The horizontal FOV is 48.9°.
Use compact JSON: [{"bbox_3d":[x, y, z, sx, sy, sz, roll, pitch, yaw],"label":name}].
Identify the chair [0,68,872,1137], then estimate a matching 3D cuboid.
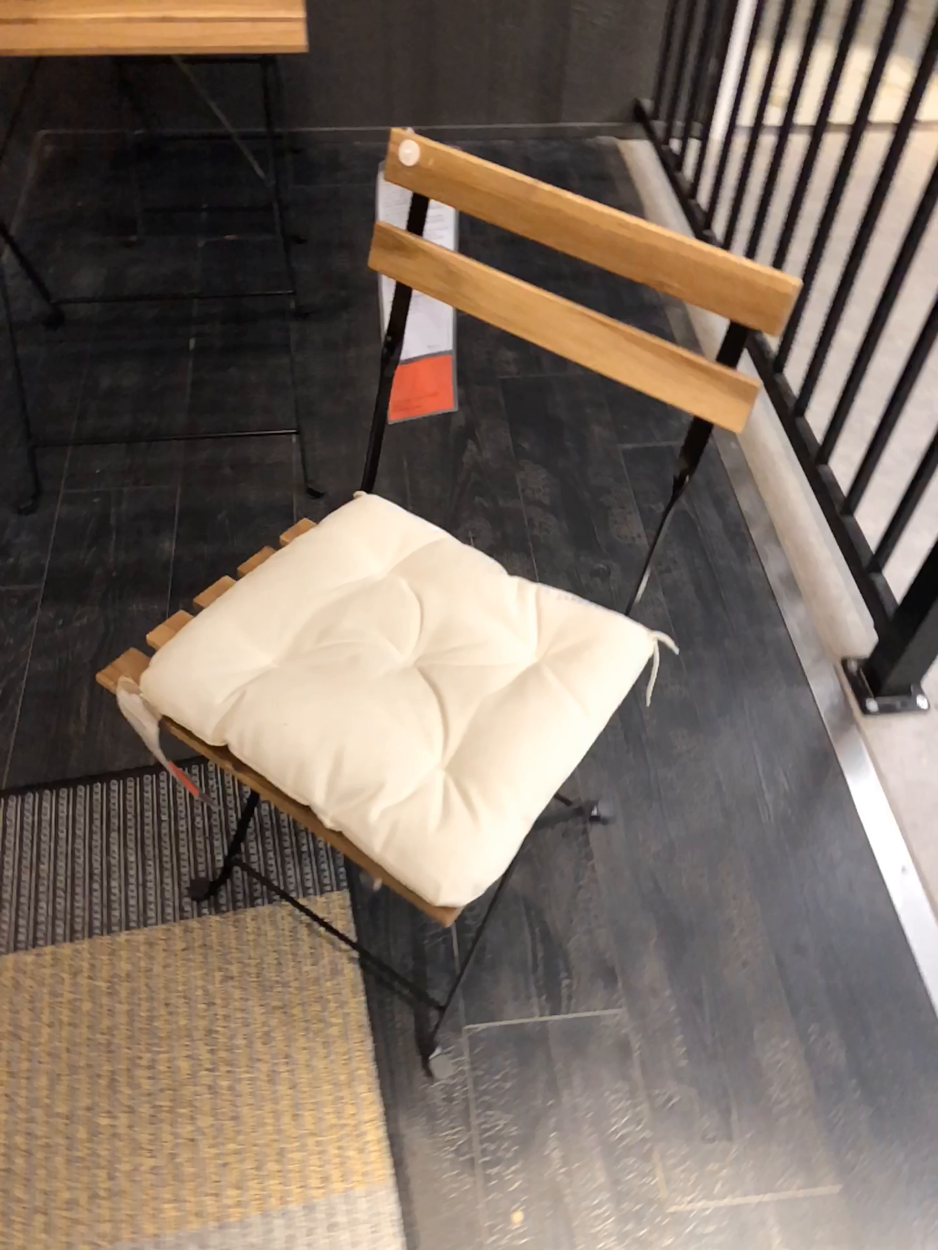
[{"bbox_3d":[-0.057,0.027,0.945,0.450,0.758,0.461,30,56,20],"label":"chair"}]
